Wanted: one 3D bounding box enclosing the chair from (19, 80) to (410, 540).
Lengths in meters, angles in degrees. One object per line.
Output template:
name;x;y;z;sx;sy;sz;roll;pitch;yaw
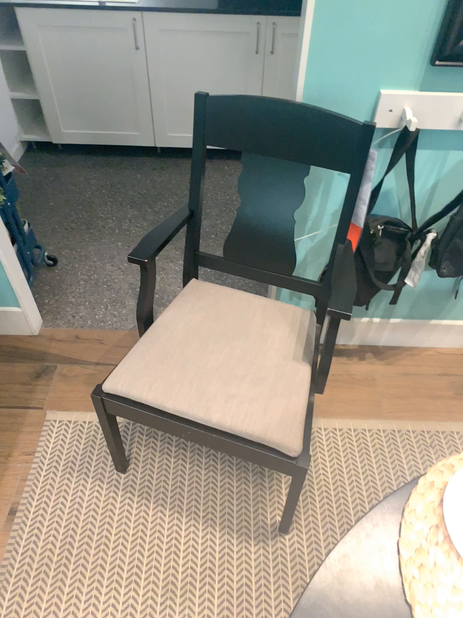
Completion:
chair;0.035;0.005;1.345;0.600;0.897;0.802;15;48;12
